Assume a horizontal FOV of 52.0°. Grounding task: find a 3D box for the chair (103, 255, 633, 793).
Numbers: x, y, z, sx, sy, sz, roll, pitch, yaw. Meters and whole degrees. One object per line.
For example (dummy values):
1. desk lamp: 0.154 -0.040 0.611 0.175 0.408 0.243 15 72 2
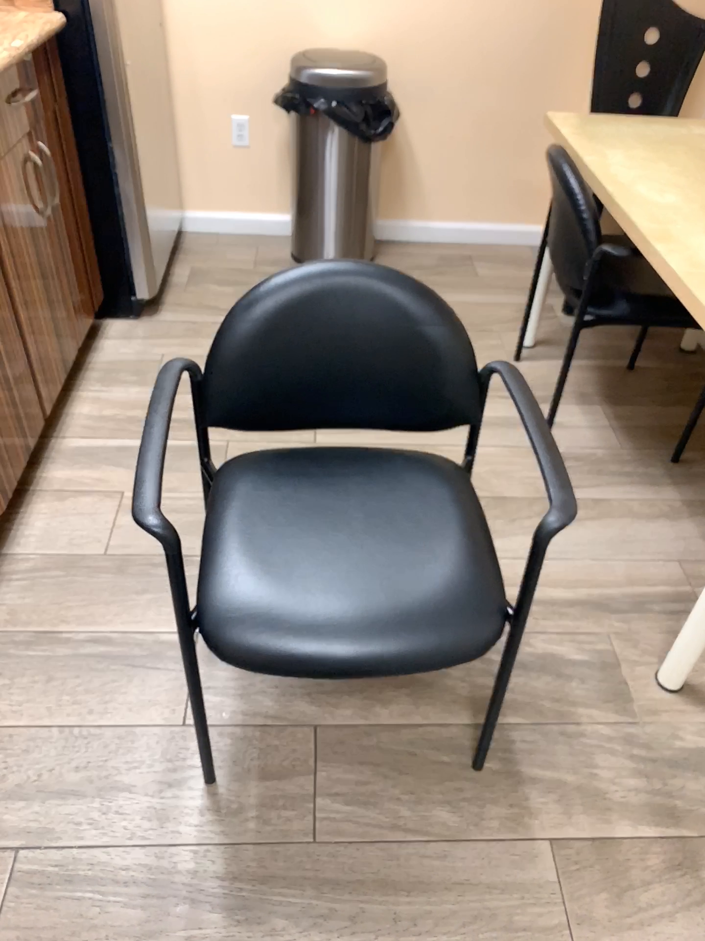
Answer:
1. chair: -0.016 0.100 1.233 0.590 0.736 0.523 -1 41 -6
